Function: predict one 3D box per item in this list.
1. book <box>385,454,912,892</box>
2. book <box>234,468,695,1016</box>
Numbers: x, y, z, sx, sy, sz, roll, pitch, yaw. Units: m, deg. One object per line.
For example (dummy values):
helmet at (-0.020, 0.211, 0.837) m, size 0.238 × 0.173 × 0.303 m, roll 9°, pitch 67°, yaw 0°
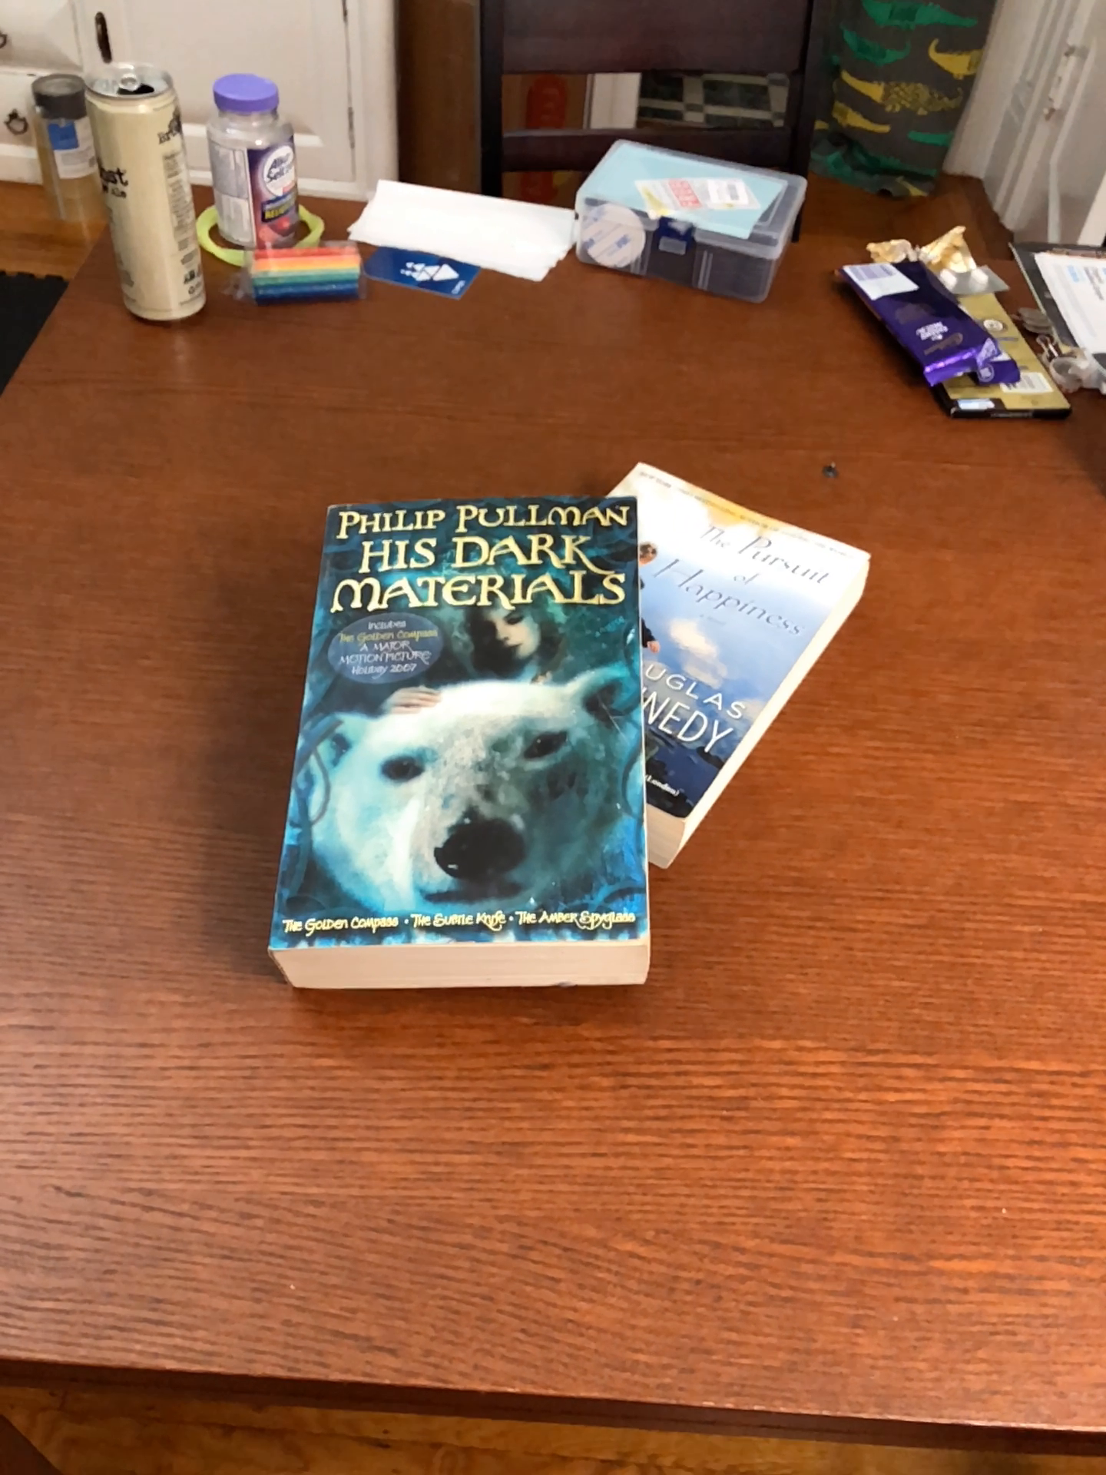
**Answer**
book at (0.057, -0.050, 0.644) m, size 0.170 × 0.040 × 0.241 m, roll 26°, pitch 53°, yaw 25°
book at (-0.033, -0.006, 0.535) m, size 0.170 × 0.060 × 0.241 m, roll -1°, pitch 60°, yaw 0°
